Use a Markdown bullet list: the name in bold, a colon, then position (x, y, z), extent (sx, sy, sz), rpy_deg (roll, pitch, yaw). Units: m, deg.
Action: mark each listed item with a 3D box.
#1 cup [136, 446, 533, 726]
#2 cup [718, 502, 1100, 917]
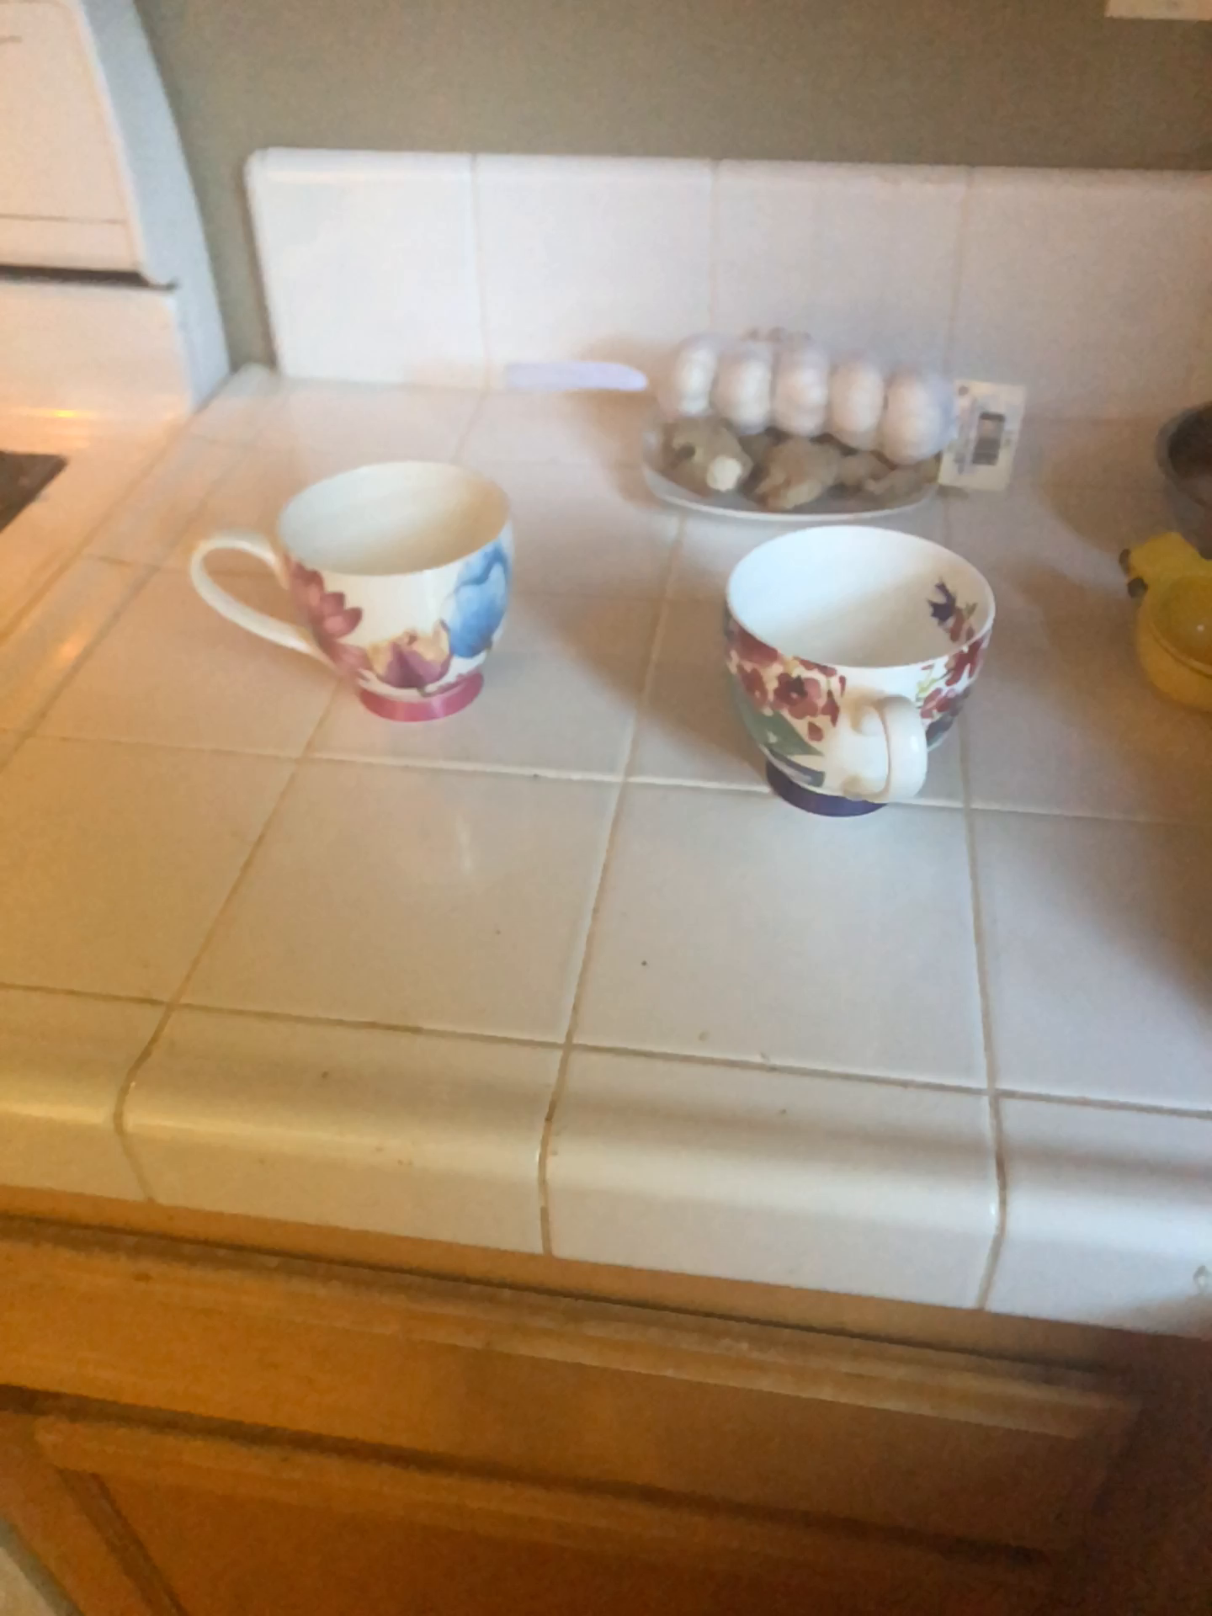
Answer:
- **cup**: position (-0.117, -0.105, 0.623), extent (0.150, 0.079, 0.111), rpy_deg (1, 41, 3)
- **cup**: position (0.112, -0.045, 0.547), extent (0.110, 0.089, 0.151), rpy_deg (-3, 41, -2)
